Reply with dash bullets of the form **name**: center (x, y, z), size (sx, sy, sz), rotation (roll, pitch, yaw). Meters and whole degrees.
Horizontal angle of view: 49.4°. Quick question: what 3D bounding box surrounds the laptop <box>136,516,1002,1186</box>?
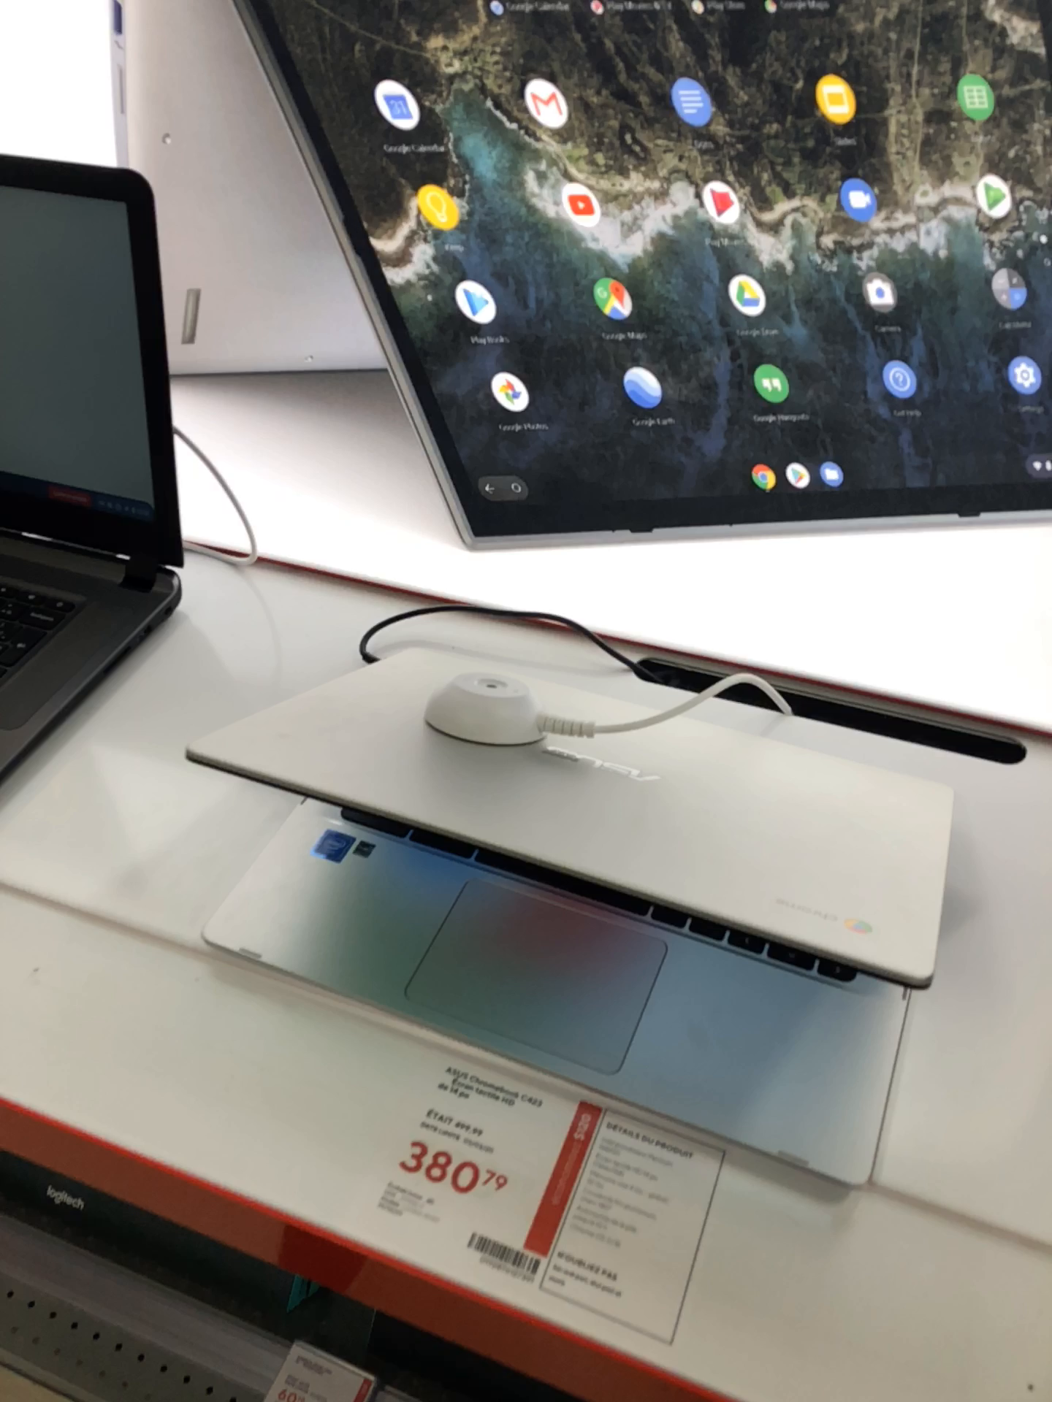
- **laptop**: center (0.030, 0.043, 0.536), size (0.317, 0.100, 0.226), rotation (15, 44, 19)
